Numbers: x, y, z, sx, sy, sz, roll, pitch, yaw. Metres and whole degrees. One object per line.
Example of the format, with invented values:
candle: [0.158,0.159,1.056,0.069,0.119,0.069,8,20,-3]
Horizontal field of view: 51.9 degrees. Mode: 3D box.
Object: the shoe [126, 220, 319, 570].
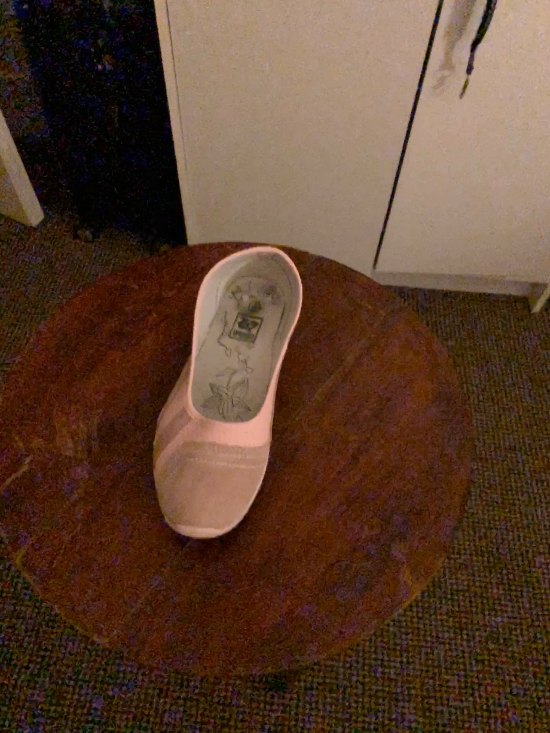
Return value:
shoe: [-0.027,0.006,0.446,0.090,0.070,0.272,8,55,4]
